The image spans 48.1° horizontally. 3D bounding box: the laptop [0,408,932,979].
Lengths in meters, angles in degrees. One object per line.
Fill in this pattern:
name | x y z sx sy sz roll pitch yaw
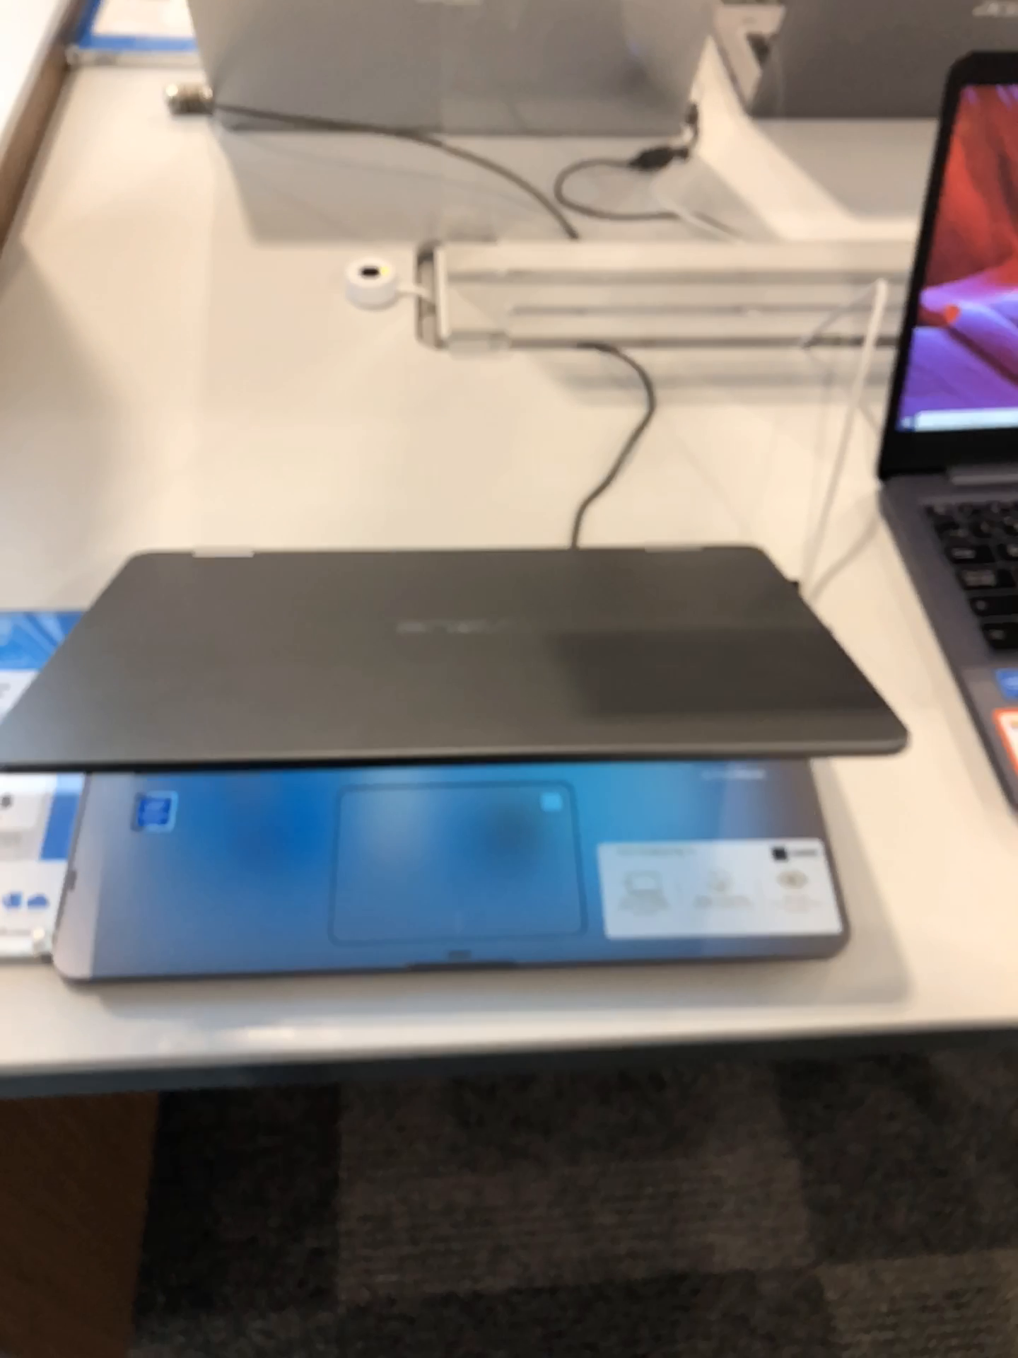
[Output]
laptop | -0.027 -0.002 0.481 0.321 0.105 0.215 -1 52 -3
